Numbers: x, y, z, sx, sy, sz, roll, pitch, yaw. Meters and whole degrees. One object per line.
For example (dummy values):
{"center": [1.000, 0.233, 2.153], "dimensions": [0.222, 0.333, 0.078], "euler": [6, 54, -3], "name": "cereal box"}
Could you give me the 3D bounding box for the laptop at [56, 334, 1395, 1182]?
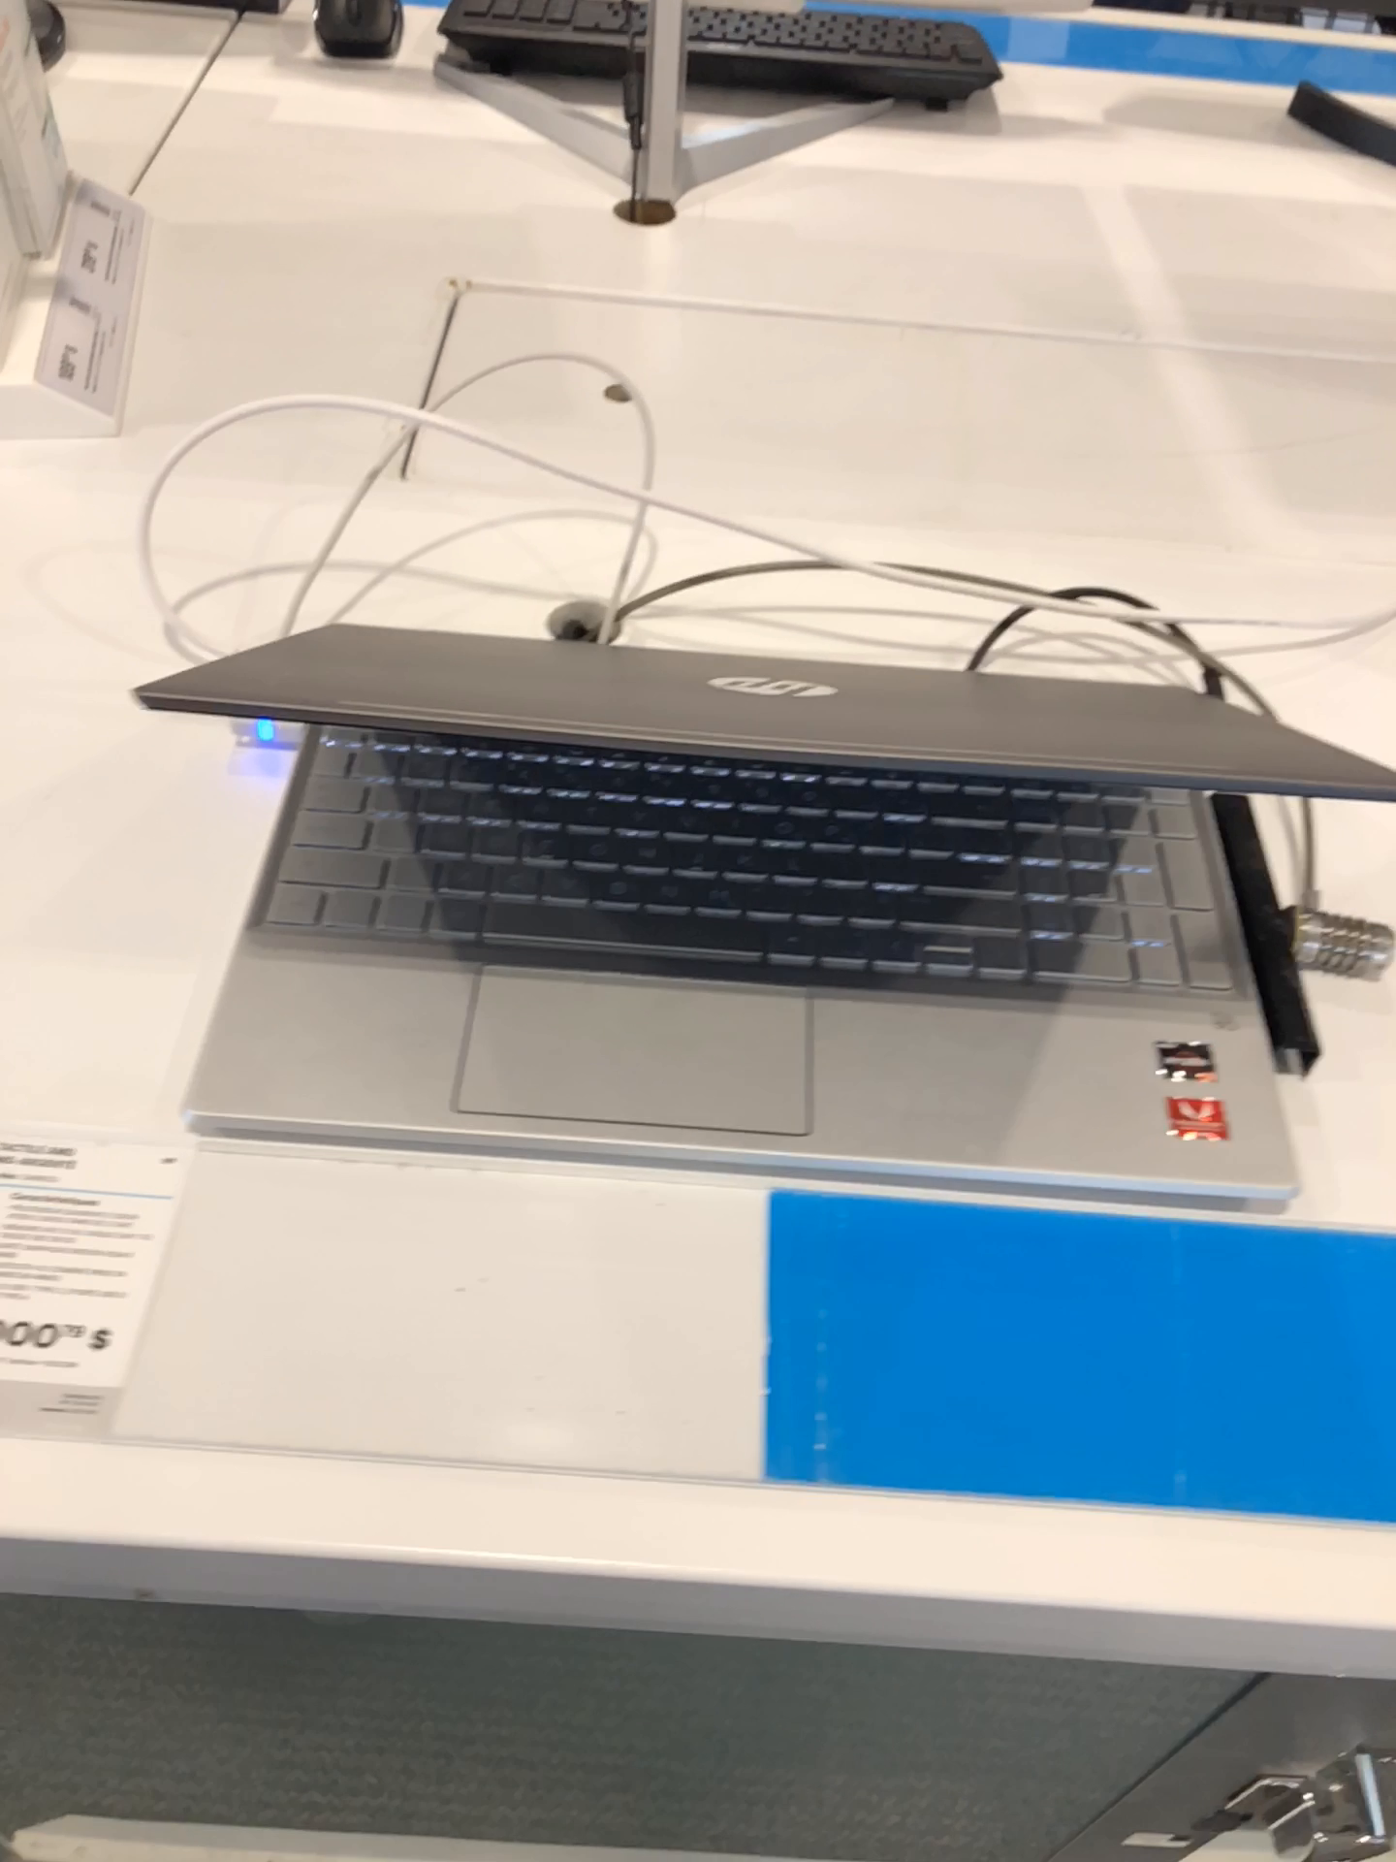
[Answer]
{"center": [0.016, -0.064, 0.512], "dimensions": [0.350, 0.134, 0.232], "euler": [4, 49, 0], "name": "laptop"}
